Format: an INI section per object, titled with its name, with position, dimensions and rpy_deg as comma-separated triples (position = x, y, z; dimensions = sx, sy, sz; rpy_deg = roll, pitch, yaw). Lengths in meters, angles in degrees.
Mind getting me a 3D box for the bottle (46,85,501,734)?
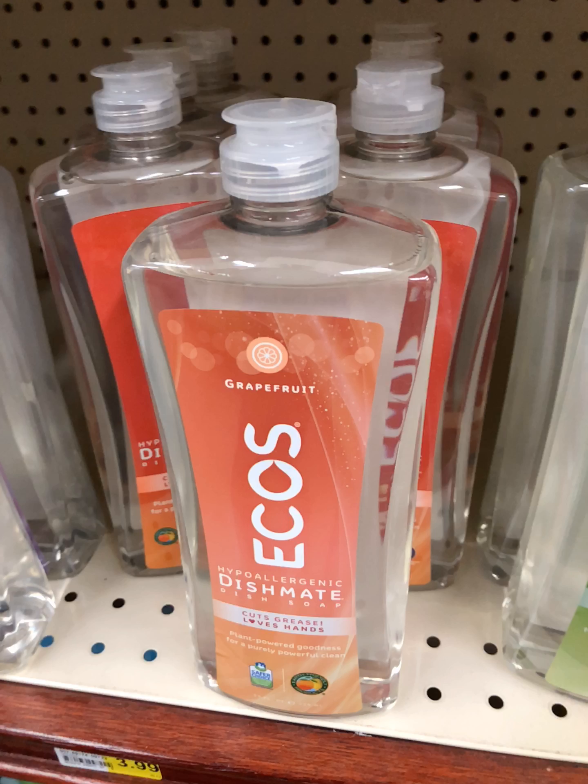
[bottle]
position = 0.001, 0.024, 0.215
dimensions = 0.092, 0.219, 0.050
rpy_deg = 4, 36, 9
